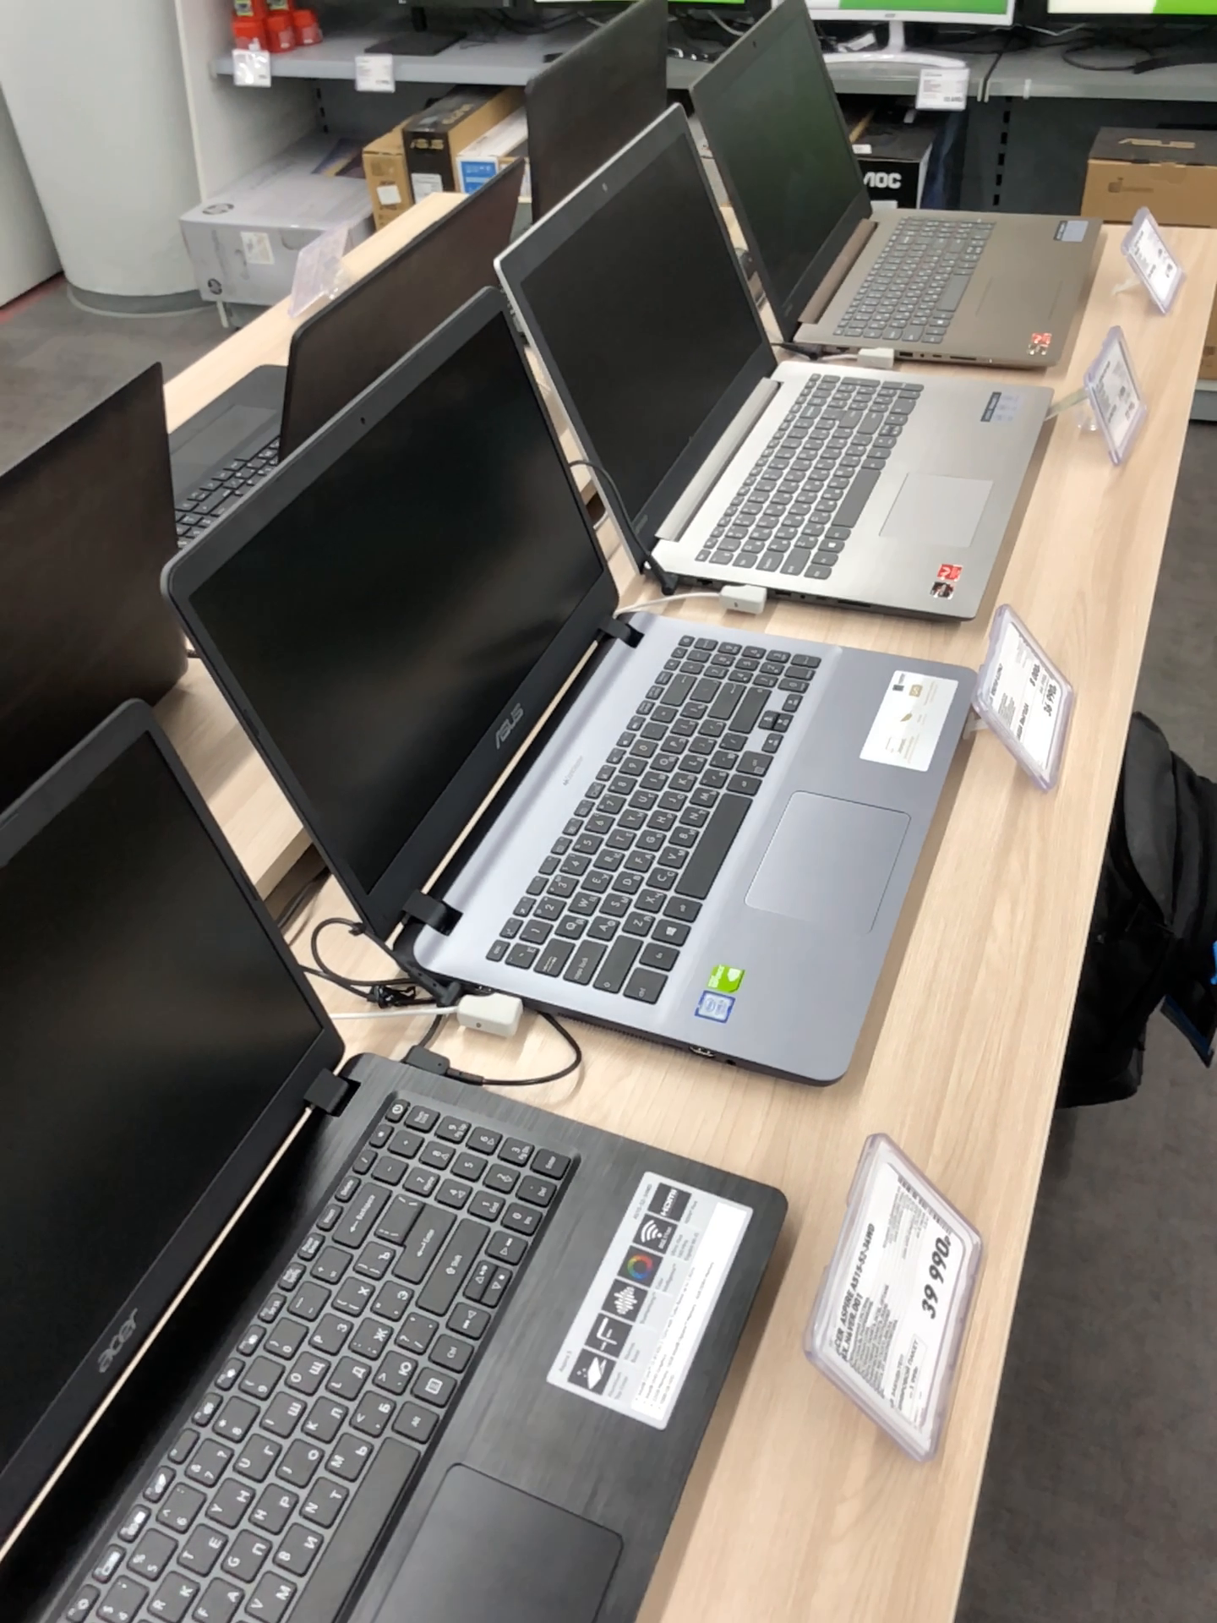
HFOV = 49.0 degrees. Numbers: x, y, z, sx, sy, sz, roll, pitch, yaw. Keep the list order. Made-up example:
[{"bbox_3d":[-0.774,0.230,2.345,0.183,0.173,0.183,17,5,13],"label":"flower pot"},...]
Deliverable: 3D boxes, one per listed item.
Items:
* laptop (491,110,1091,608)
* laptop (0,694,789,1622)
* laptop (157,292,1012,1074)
[{"bbox_3d":[0.160,-0.372,1.047,0.332,0.220,0.372,12,44,16],"label":"laptop"},{"bbox_3d":[-0.124,0.172,0.473,0.291,0.222,0.334,13,44,20],"label":"laptop"},{"bbox_3d":[0.017,-0.099,0.753,0.329,0.226,0.346,13,45,18],"label":"laptop"}]
